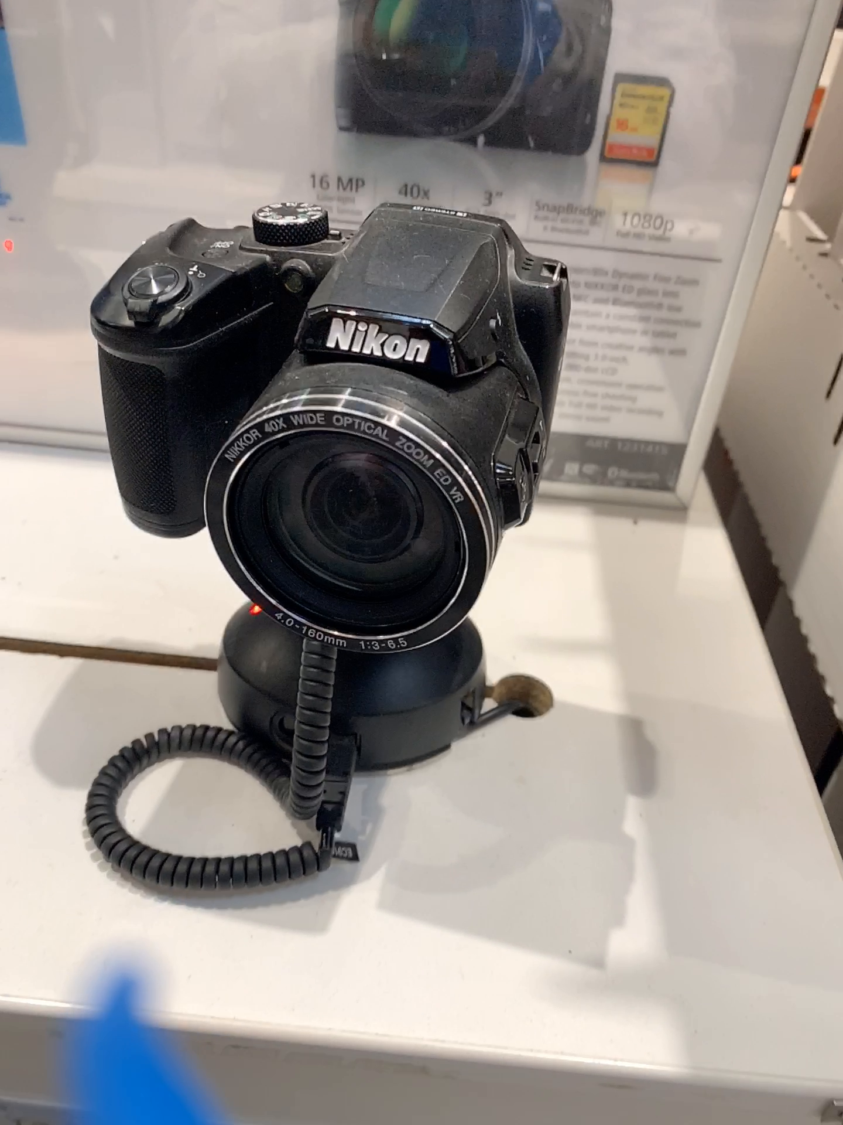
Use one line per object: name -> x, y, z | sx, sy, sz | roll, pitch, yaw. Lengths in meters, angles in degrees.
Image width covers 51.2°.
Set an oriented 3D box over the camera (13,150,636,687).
camera -> -0.017, -0.034, 0.202 | 0.110, 0.089, 0.061 | 9, 37, 5
